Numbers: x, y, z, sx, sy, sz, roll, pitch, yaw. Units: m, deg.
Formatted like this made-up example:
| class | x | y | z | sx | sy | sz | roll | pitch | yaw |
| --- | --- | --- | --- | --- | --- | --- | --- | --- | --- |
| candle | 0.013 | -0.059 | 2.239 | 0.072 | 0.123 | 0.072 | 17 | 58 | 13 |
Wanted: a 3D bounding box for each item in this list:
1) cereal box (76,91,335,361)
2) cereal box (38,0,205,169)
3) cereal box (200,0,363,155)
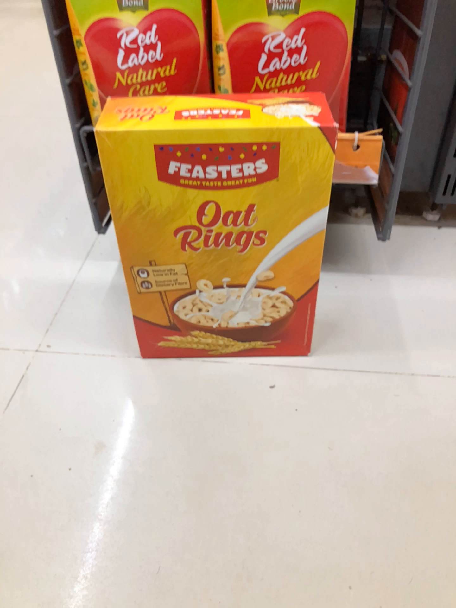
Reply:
| class | x | y | z | sx | sy | sz | roll | pitch | yaw |
| --- | --- | --- | --- | --- | --- | --- | --- | --- | --- |
| cereal box | -0.014 | -0.055 | 0.430 | 0.170 | 0.218 | 0.070 | -2 | 41 | -1 |
| cereal box | -0.089 | -0.227 | 0.486 | 0.120 | 0.169 | 0.081 | 1 | 41 | 2 |
| cereal box | 0.039 | -0.223 | 0.452 | 0.120 | 0.149 | 0.081 | -2 | 41 | -1 |
